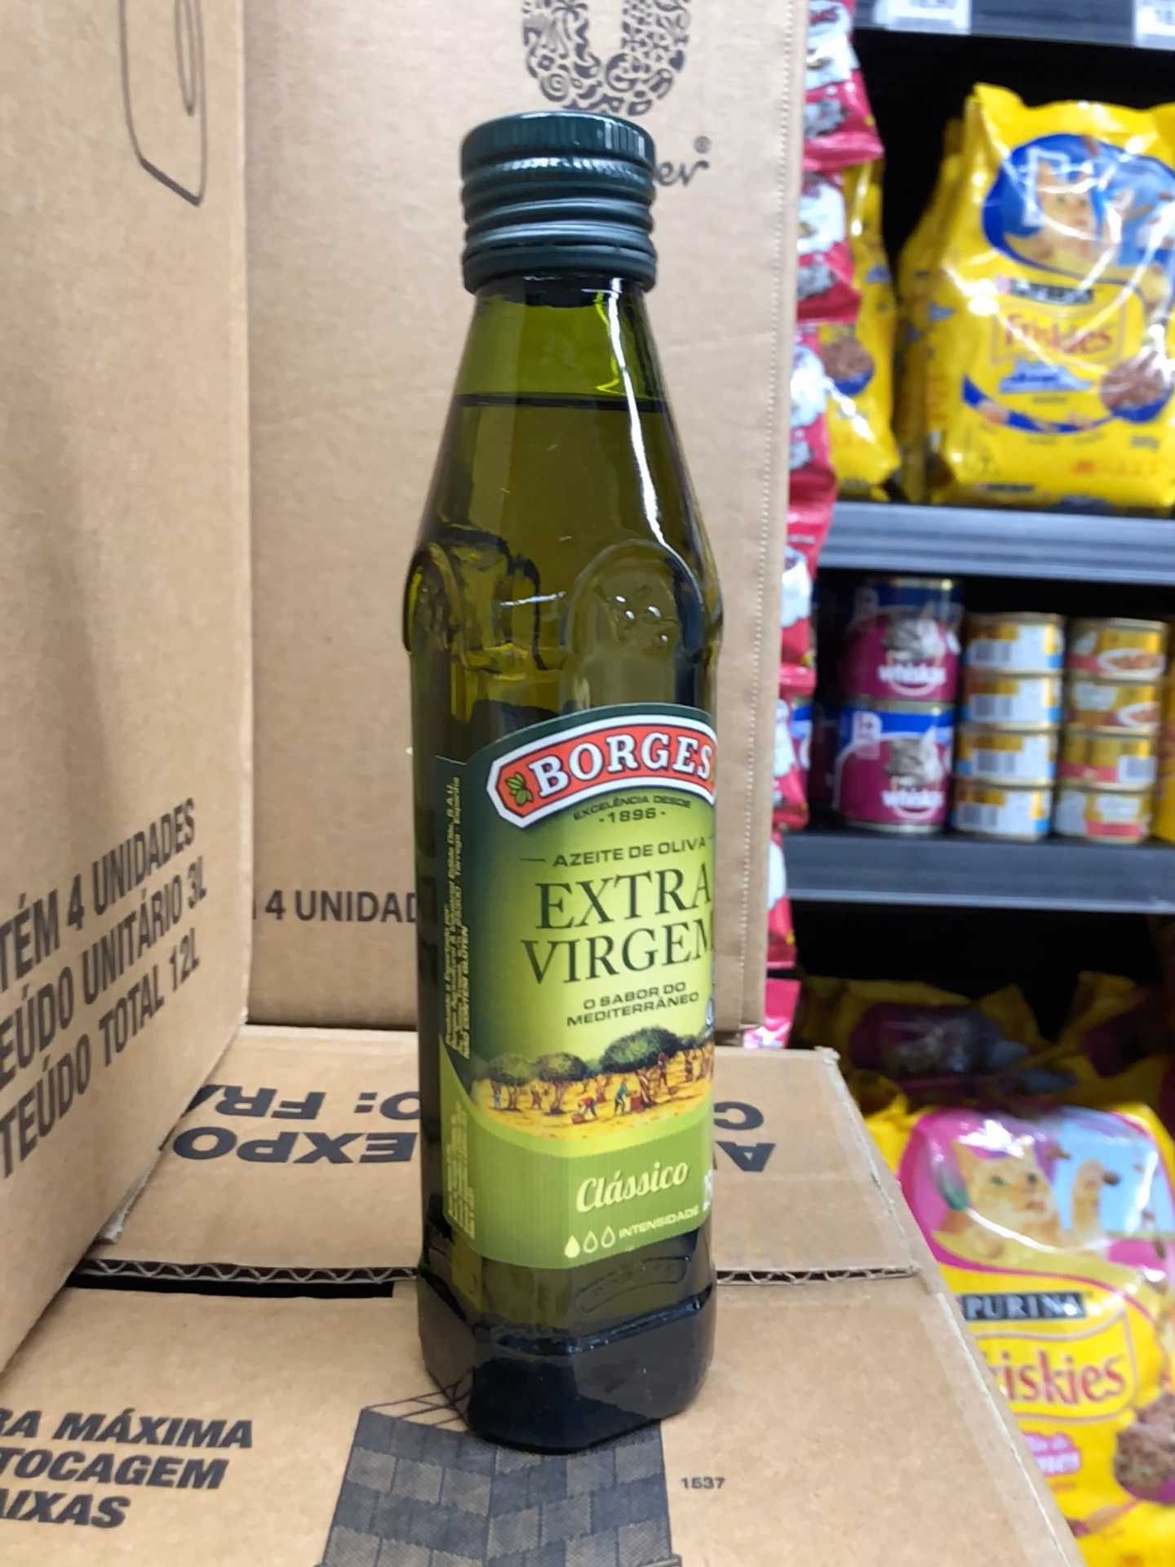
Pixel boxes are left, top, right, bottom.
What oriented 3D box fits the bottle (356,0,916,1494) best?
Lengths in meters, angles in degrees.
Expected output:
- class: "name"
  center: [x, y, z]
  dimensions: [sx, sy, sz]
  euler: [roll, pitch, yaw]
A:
- class: "bottle"
  center: [0.003, -0.008, 0.221]
  dimensions: [0.060, 0.219, 0.060]
  euler: [2, 9, 0]
